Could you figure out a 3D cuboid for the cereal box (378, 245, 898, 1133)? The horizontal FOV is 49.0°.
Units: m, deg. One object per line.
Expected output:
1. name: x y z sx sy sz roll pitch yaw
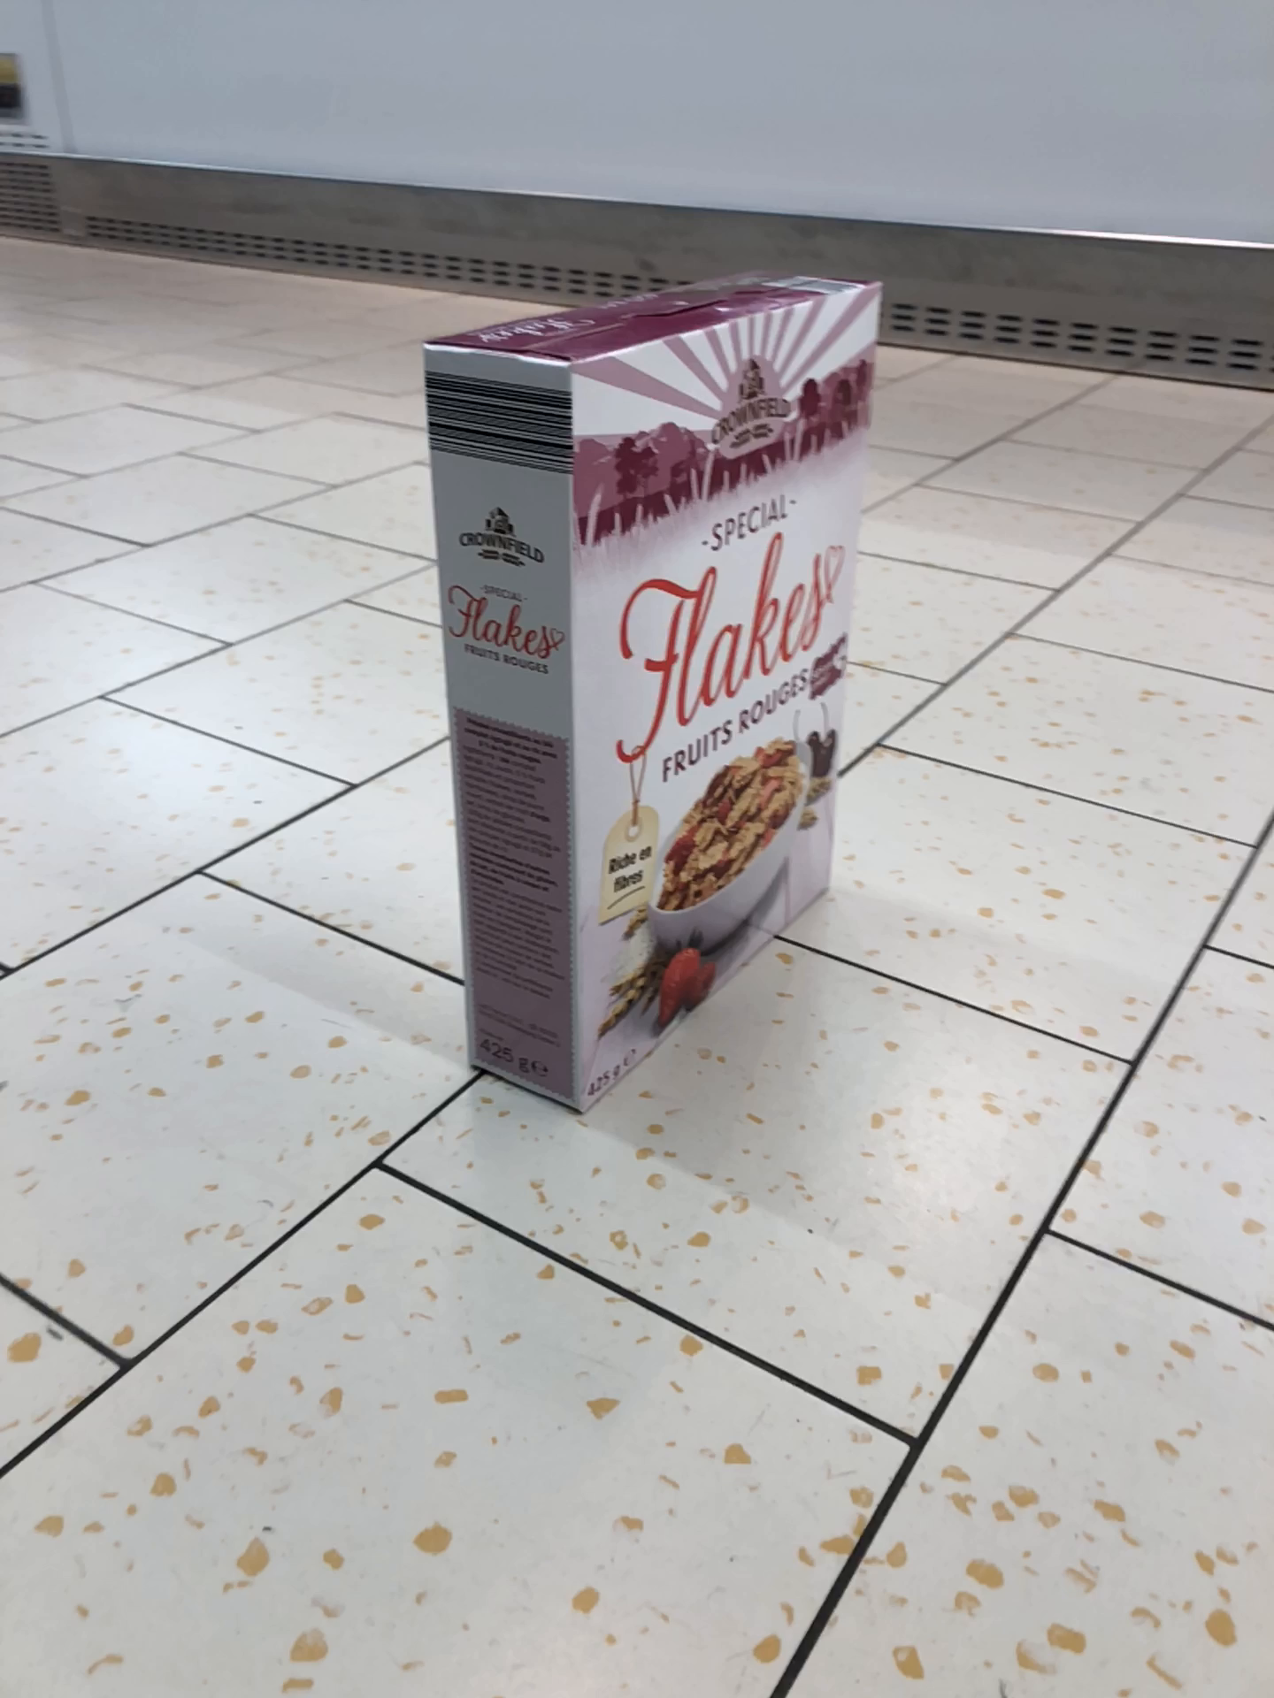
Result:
1. cereal box: 0.011 -0.065 0.501 0.060 0.258 0.201 19 34 30
